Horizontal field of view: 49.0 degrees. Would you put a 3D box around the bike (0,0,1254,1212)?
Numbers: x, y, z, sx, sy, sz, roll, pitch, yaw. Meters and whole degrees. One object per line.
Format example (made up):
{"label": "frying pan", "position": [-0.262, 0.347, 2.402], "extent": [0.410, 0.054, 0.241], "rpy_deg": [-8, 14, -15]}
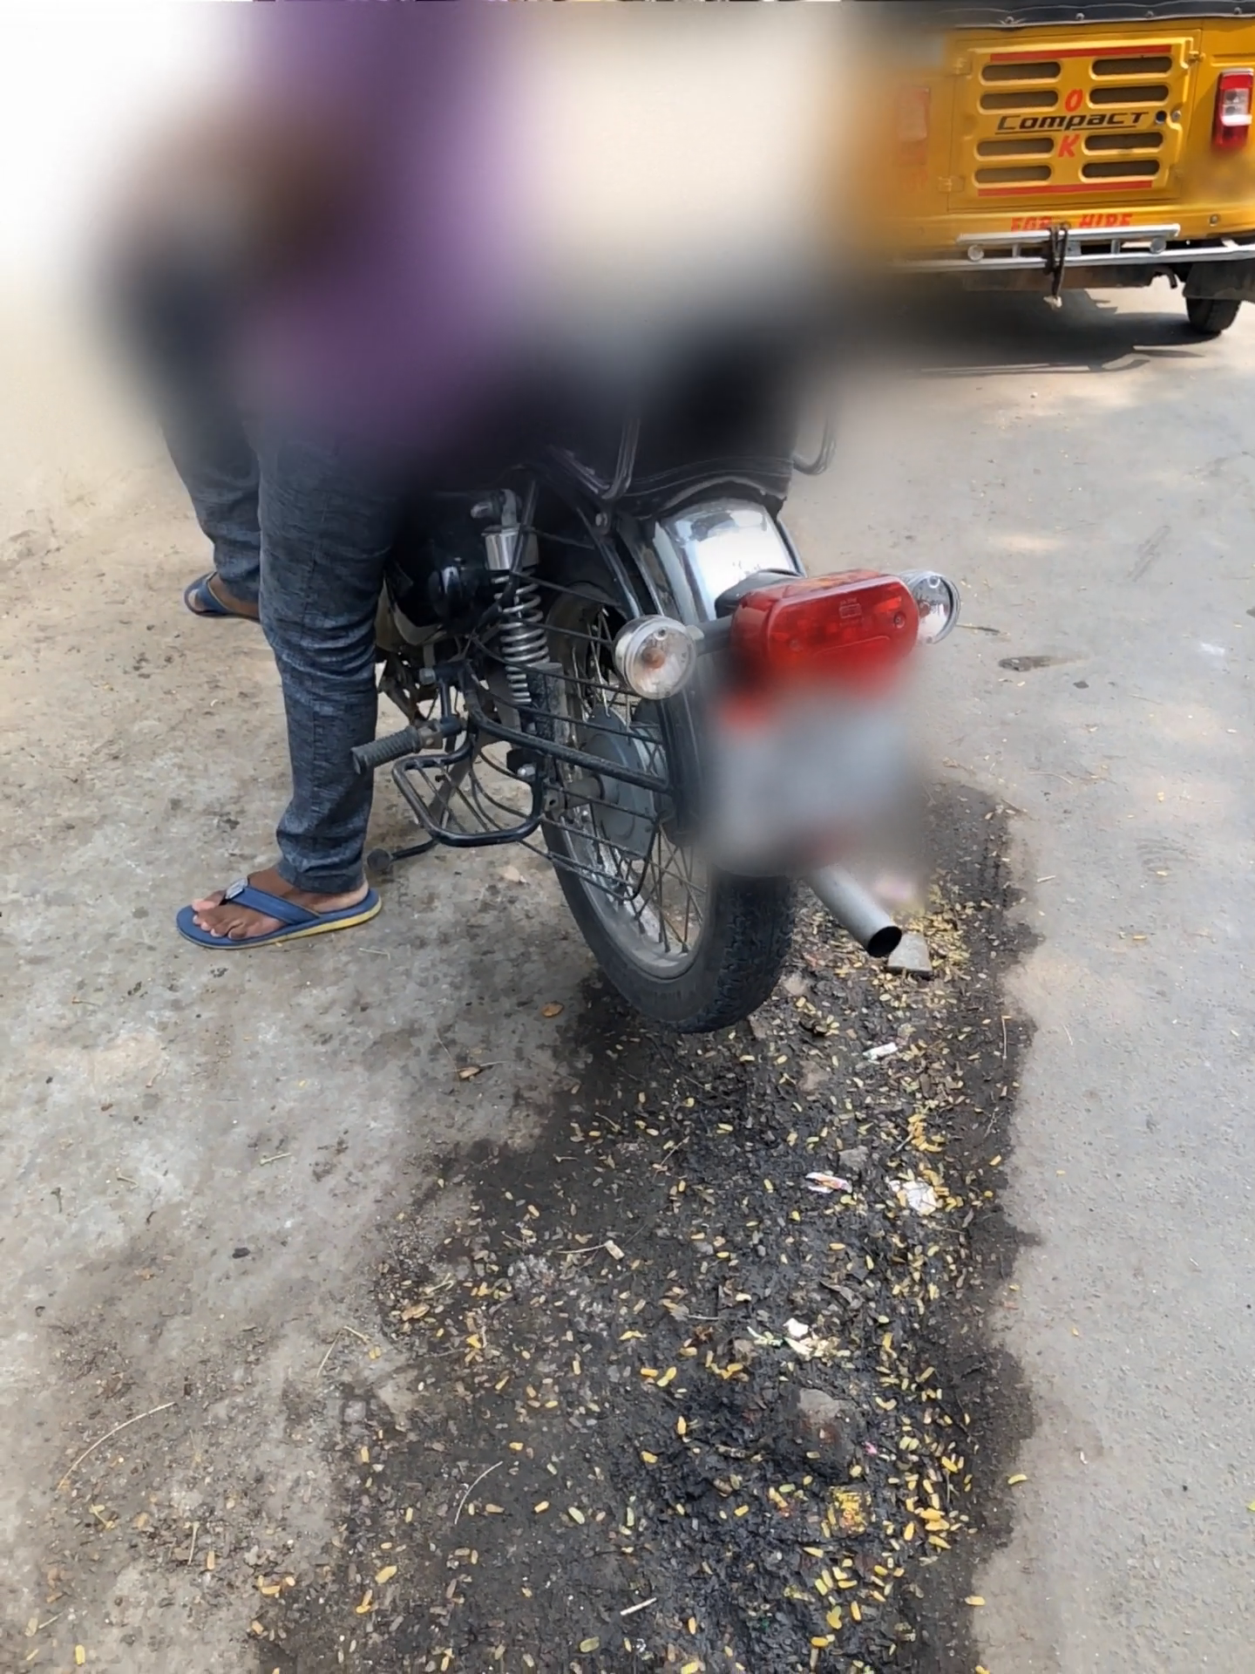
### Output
{"label": "bike", "position": [-0.333, -0.631, 2.058], "extent": [0.841, 1.172, 1.926], "rpy_deg": [-20, 41, -24]}
